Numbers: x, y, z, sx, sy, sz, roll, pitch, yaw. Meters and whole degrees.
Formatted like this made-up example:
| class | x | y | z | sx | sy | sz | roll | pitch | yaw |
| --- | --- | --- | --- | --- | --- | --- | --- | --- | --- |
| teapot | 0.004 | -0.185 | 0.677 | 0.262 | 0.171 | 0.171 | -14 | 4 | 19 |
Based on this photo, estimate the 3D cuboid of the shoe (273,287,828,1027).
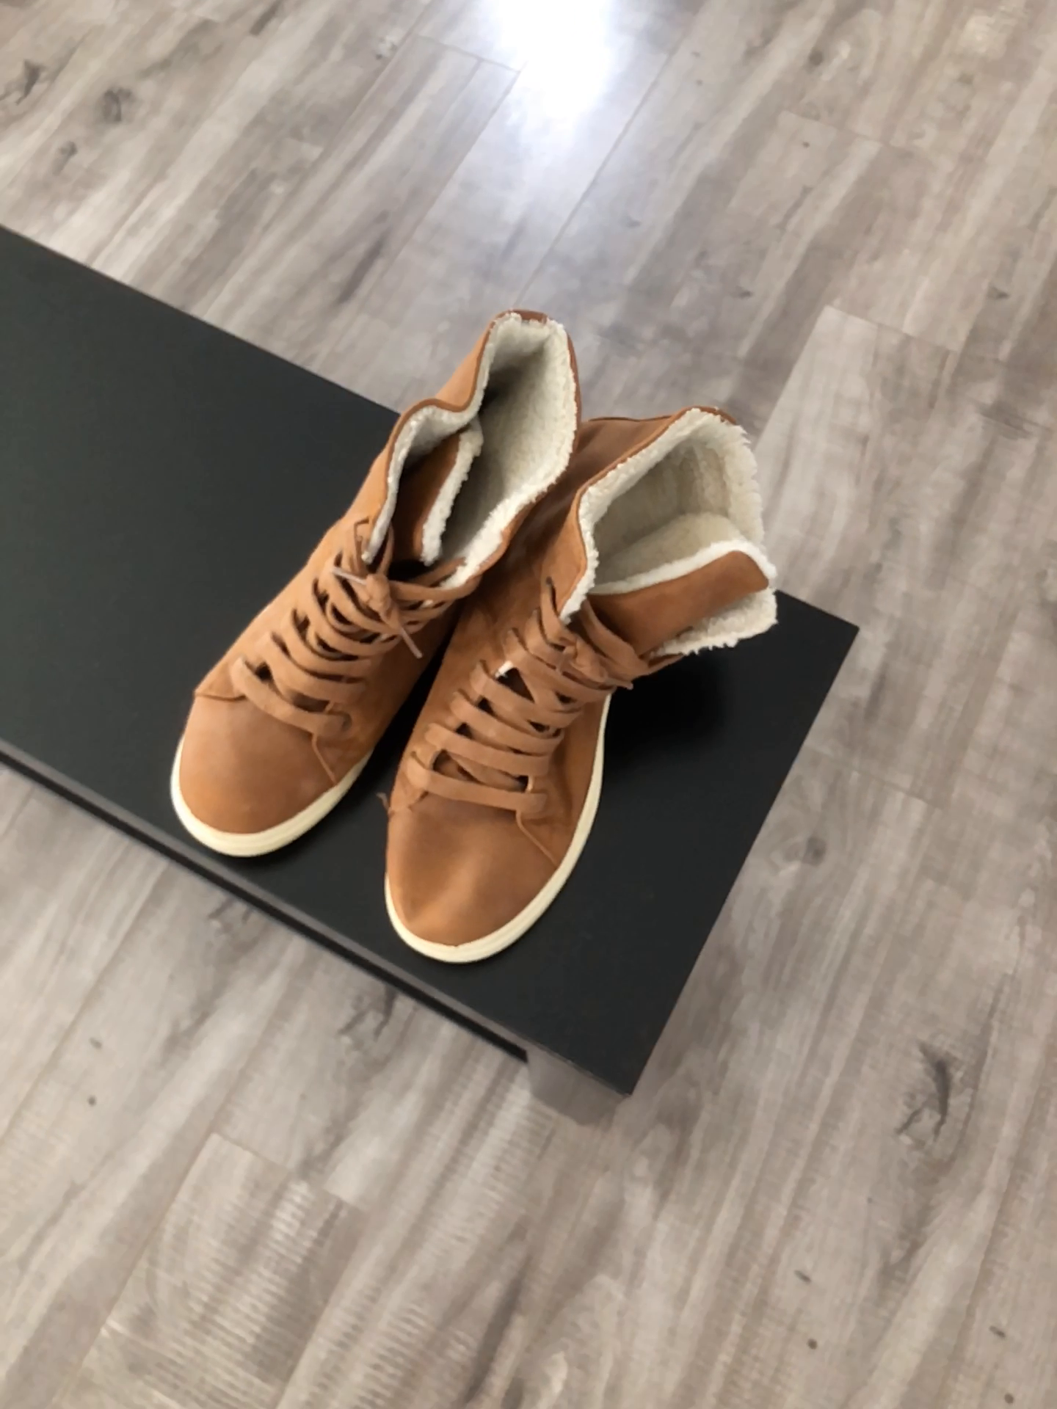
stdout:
| class | x | y | z | sx | sy | sz | roll | pitch | yaw |
| --- | --- | --- | --- | --- | --- | --- | --- | --- | --- |
| shoe | 0.017 | -0.016 | 0.497 | 0.110 | 0.140 | 0.260 | 23 | 70 | 9 |

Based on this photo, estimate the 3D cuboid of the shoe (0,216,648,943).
| class | x | y | z | sx | sy | sz | roll | pitch | yaw |
| --- | --- | --- | --- | --- | --- | --- | --- | --- | --- |
| shoe | -0.071 | -0.049 | 0.509 | 0.110 | 0.150 | 0.260 | 32 | 72 | 12 |
